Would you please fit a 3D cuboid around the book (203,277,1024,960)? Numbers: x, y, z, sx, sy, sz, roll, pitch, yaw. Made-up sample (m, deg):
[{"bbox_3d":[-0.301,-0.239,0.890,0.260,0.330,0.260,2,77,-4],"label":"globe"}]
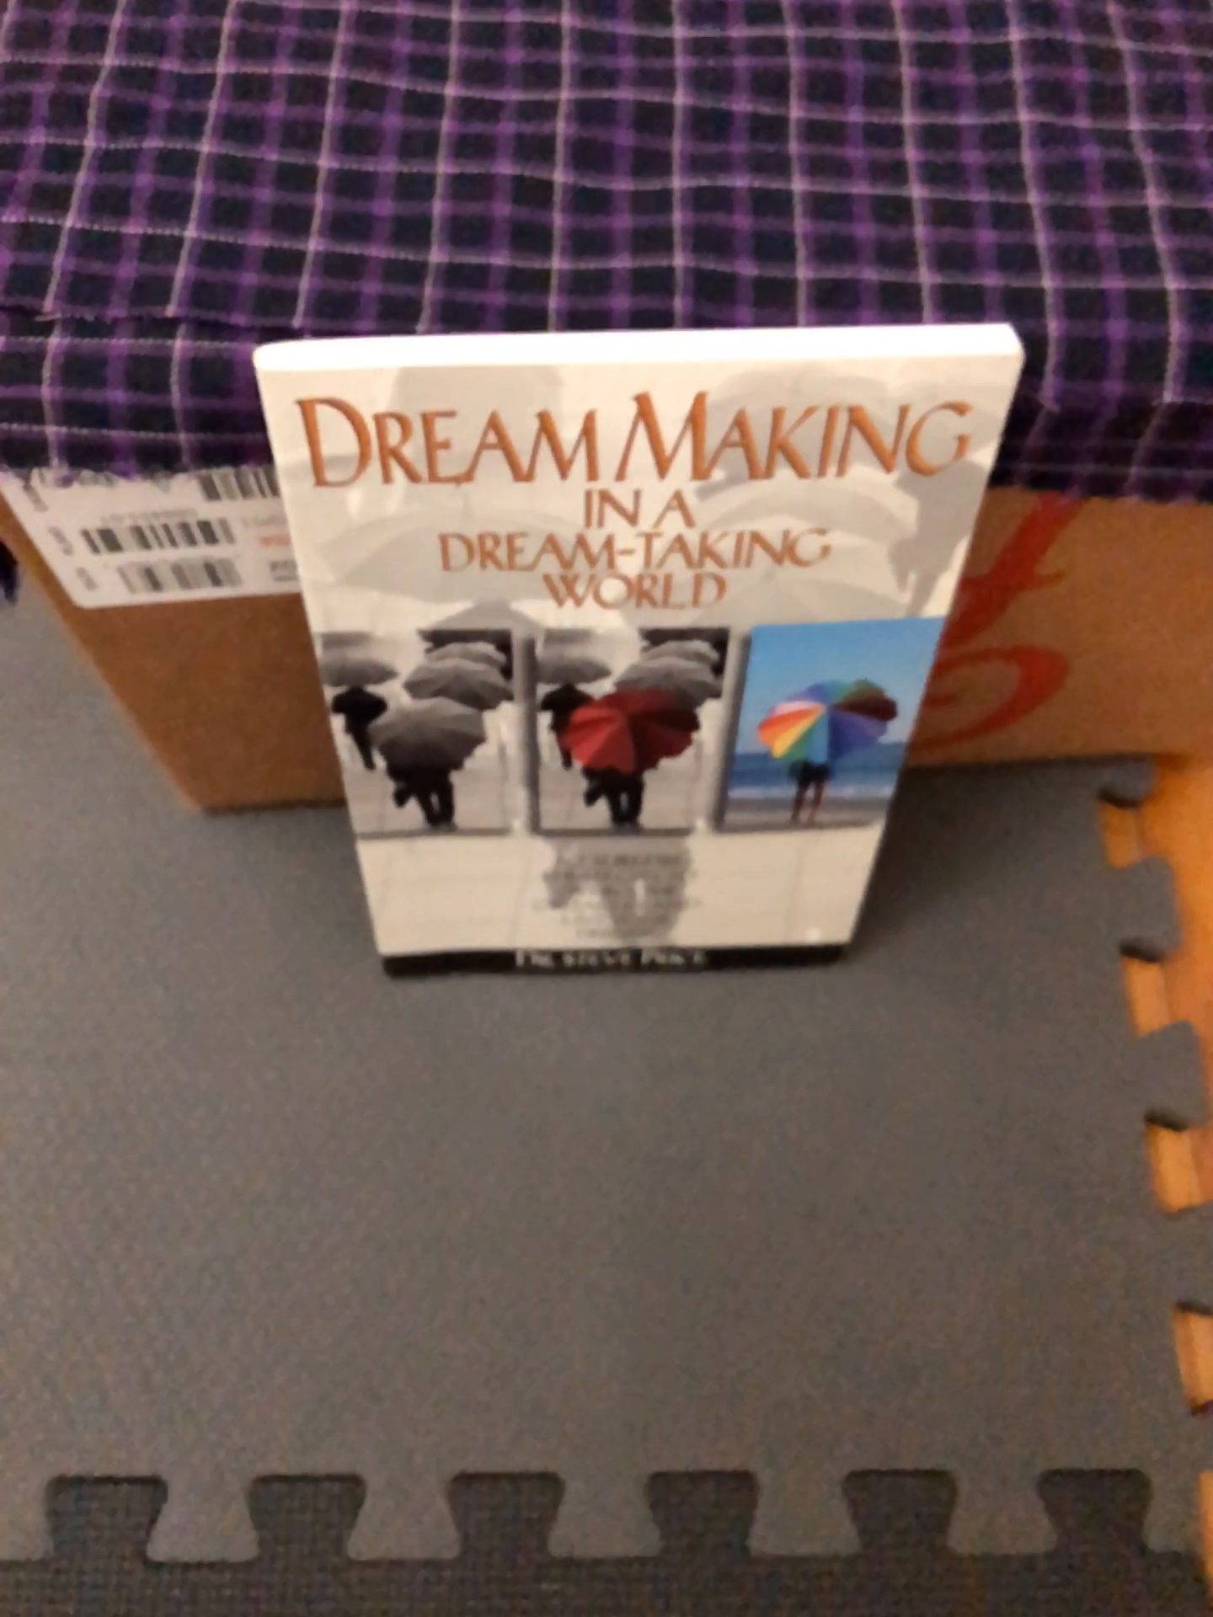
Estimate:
[{"bbox_3d":[0.001,-0.027,0.342,0.150,0.219,0.020,0,53,0],"label":"book"}]
